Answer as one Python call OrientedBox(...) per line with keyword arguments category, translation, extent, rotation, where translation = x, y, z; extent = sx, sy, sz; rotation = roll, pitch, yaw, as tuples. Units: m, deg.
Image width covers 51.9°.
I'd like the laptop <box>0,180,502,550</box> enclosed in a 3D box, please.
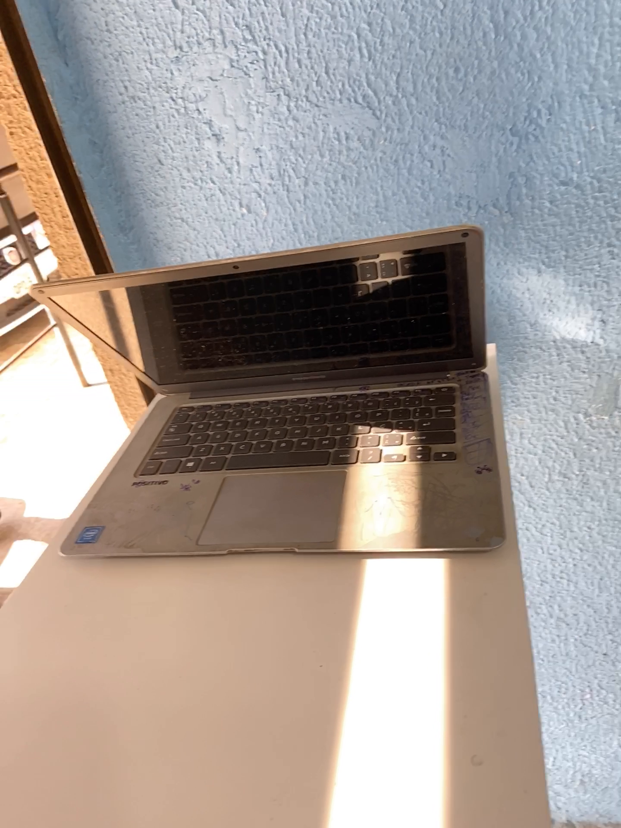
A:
OrientedBox(category="laptop", translation=(-0.035, -0.038, 0.486), extent=(0.326, 0.167, 0.213), rotation=(-4, 33, 15))
